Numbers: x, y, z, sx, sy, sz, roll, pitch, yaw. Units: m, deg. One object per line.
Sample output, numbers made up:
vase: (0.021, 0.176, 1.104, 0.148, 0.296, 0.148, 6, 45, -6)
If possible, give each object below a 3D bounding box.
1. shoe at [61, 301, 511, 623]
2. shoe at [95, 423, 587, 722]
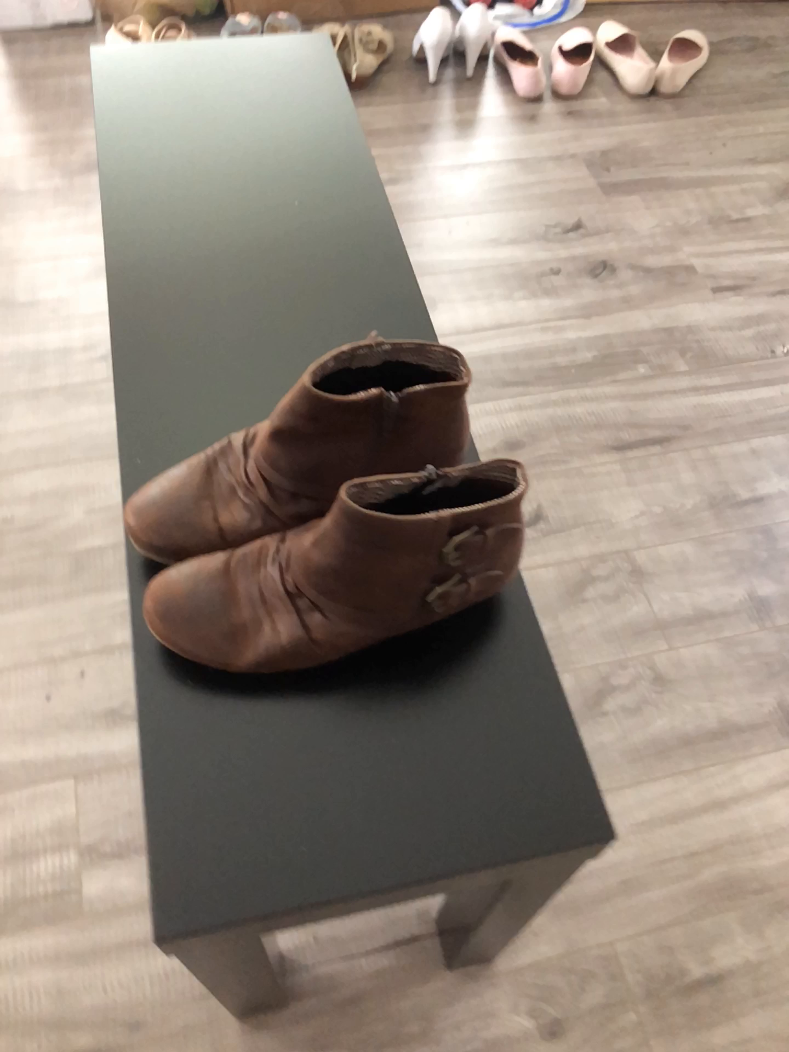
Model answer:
shoe: (-0.065, -0.040, 0.549, 0.240, 0.130, 0.090, -15, 58, -14)
shoe: (-0.032, 0.027, 0.492, 0.240, 0.110, 0.090, -8, 57, -10)
